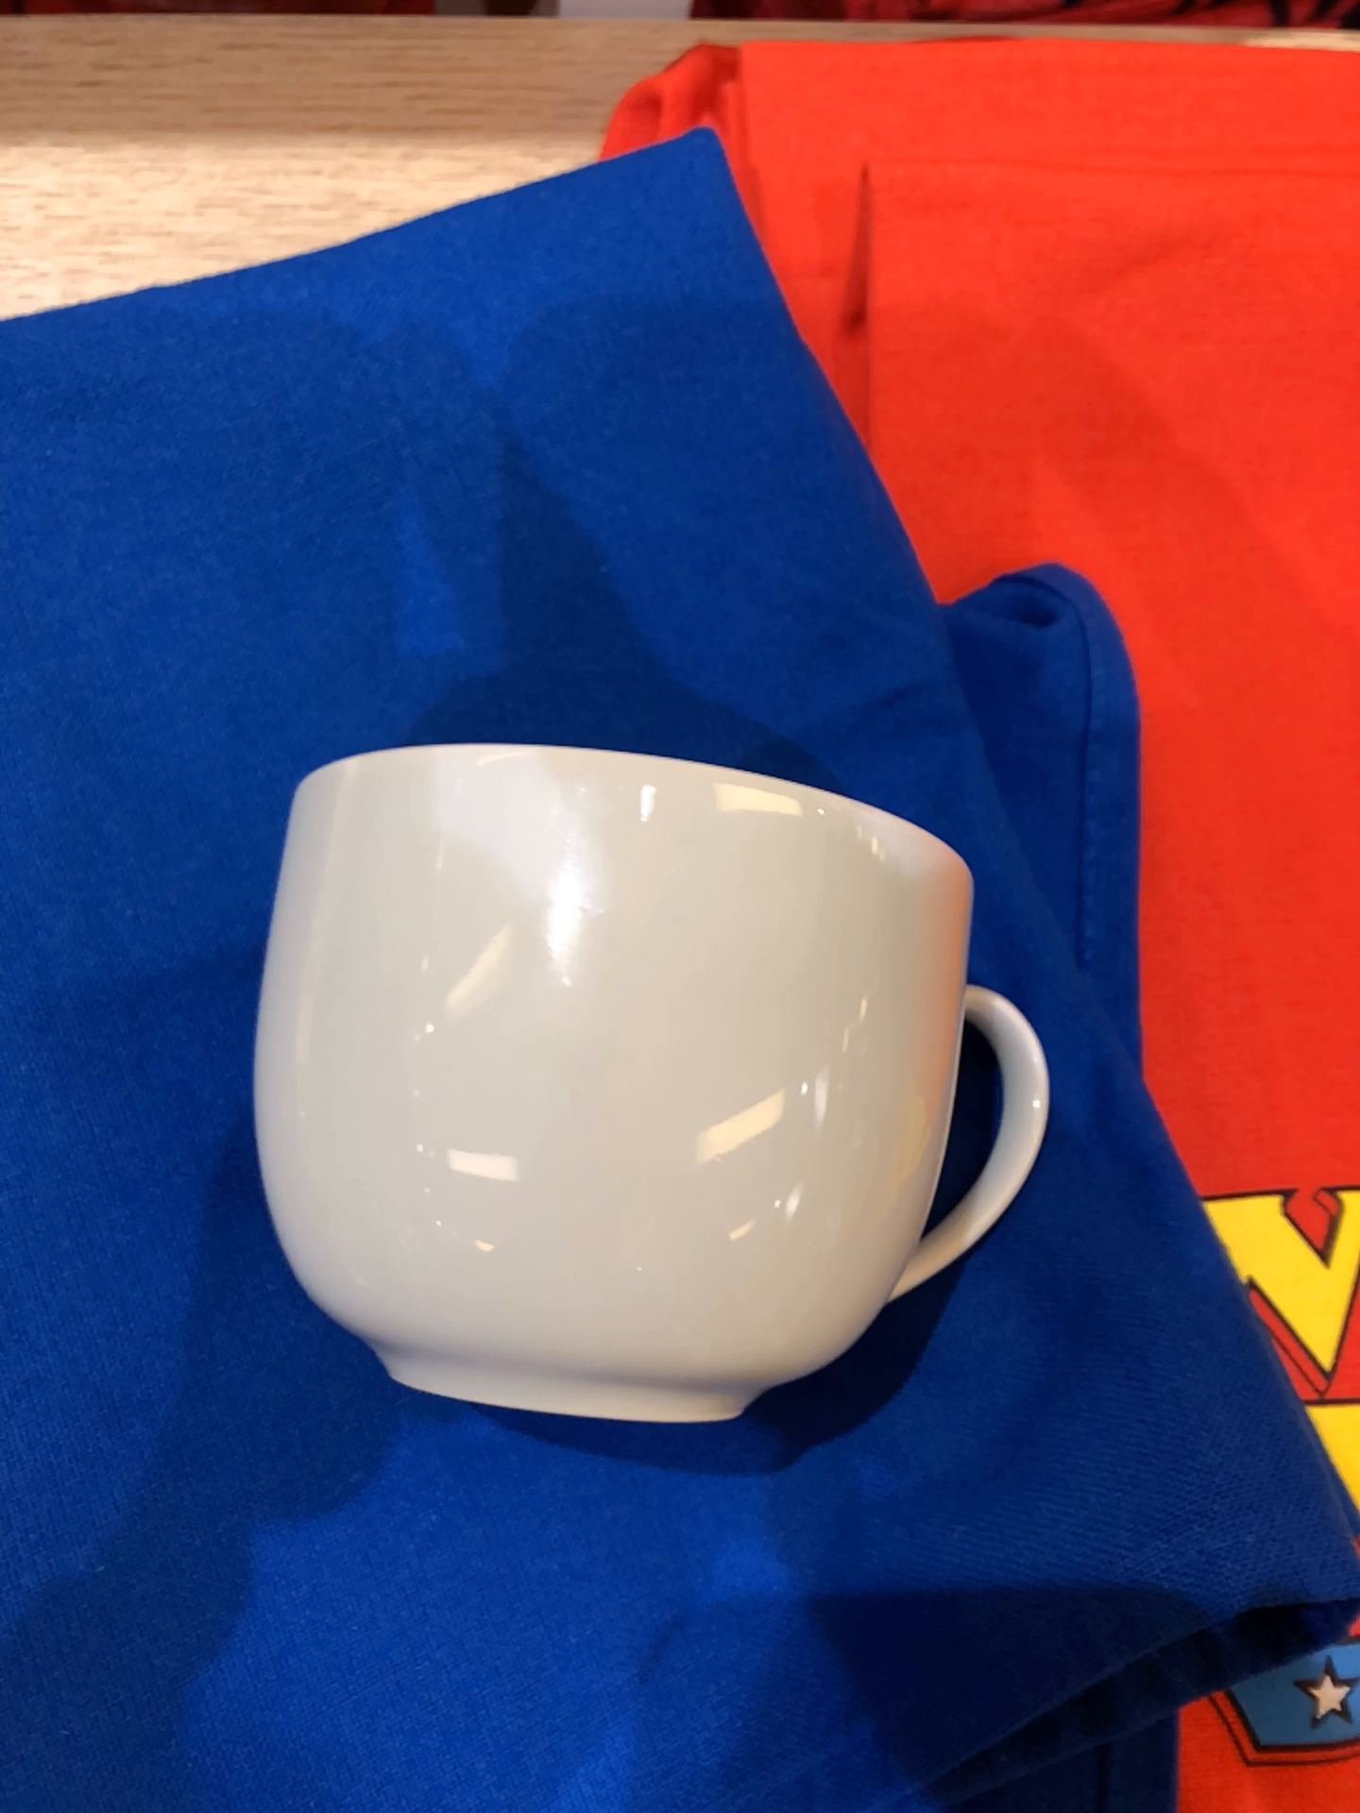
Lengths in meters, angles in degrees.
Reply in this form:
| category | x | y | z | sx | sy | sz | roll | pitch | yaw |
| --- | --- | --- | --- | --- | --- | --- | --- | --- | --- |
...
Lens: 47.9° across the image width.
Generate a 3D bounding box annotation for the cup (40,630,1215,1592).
| category | x | y | z | sx | sy | sz | roll | pitch | yaw |
| --- | --- | --- | --- | --- | --- | --- | --- | --- | --- |
| cup | -0.001 | 0.033 | 0.213 | 0.130 | 0.080 | 0.090 | 16 | 77 | -36 |
